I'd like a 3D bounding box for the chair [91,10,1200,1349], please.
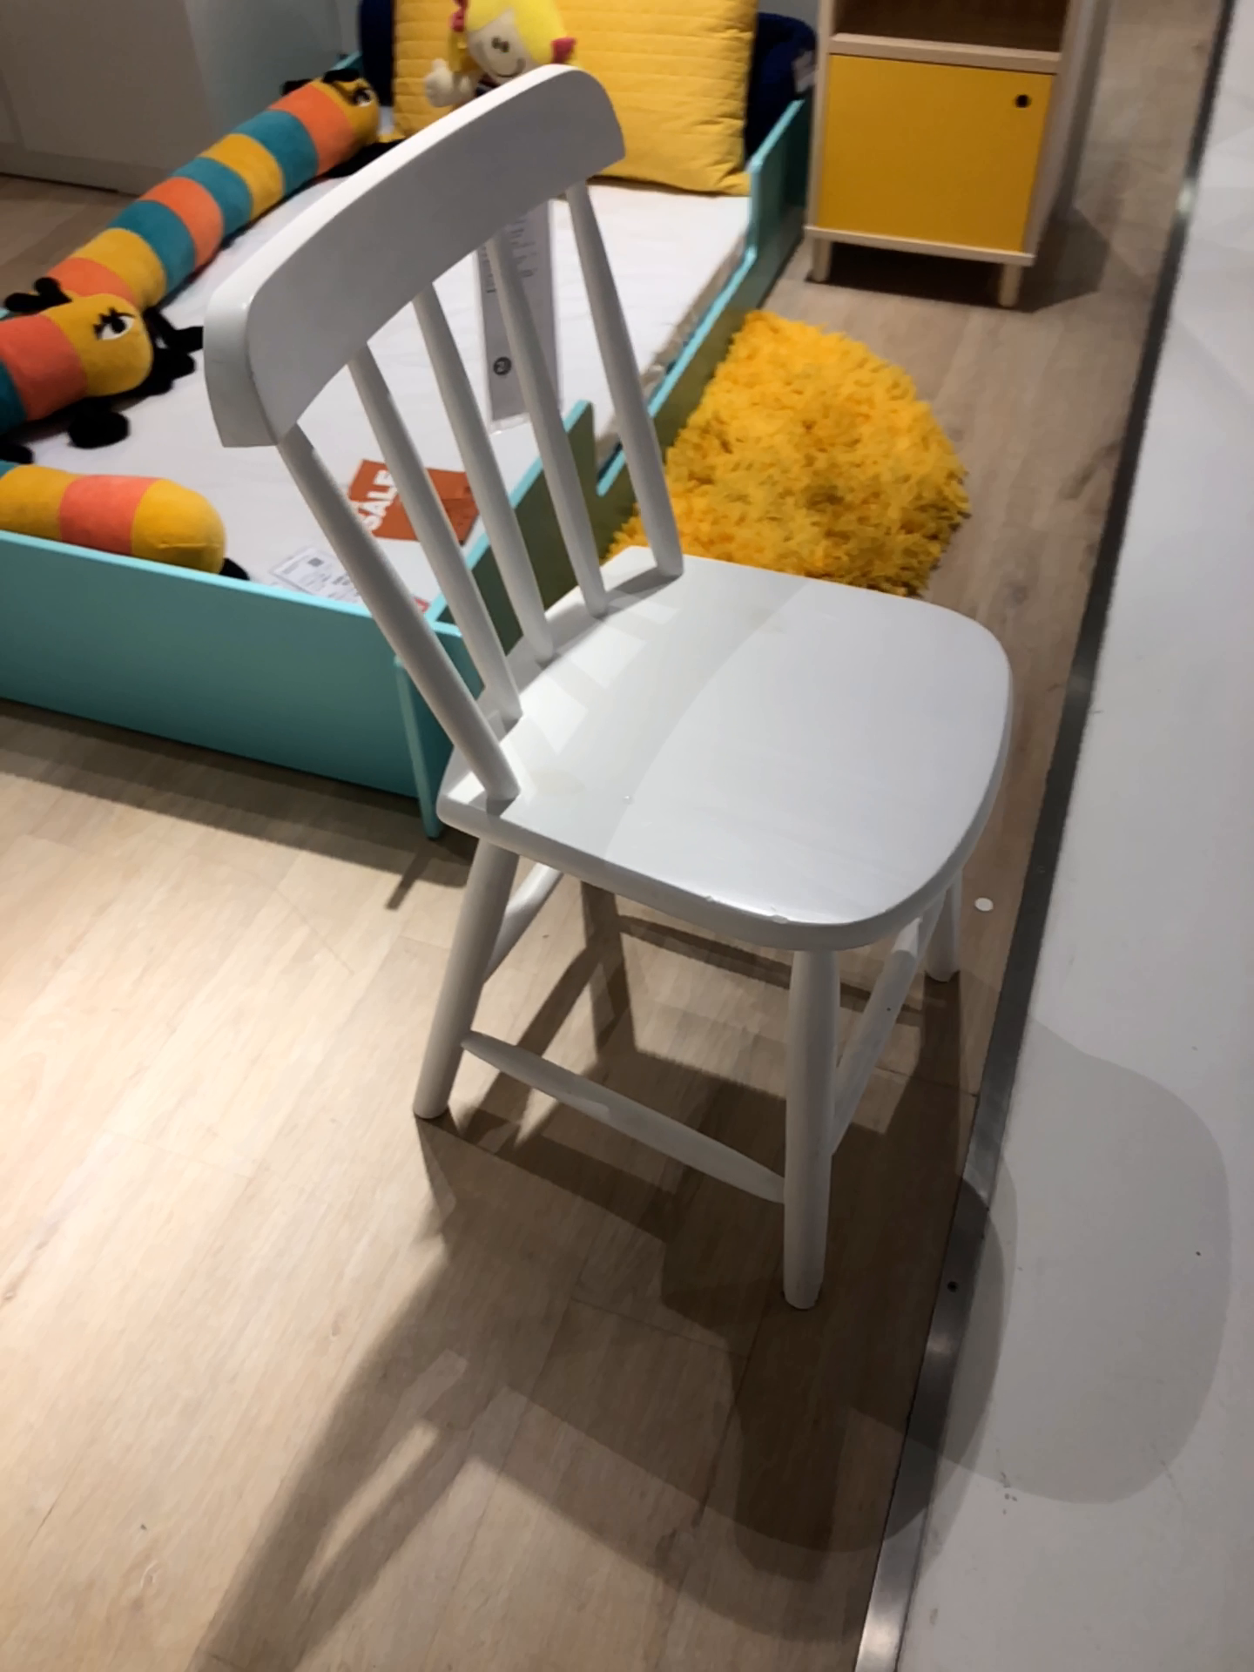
[{"bbox_3d":[0.046,-0.079,0.987,0.430,0.755,0.443,18,49,18],"label":"chair"}]
